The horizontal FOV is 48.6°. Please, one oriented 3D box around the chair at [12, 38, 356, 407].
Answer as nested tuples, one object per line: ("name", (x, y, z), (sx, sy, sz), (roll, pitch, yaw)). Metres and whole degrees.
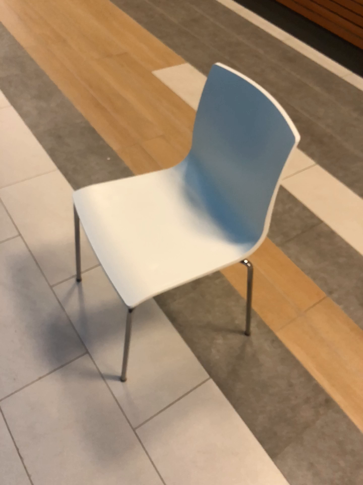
("chair", (-0.053, -0.045, 1.188), (0.551, 0.776, 0.582), (-21, 56, -23))
